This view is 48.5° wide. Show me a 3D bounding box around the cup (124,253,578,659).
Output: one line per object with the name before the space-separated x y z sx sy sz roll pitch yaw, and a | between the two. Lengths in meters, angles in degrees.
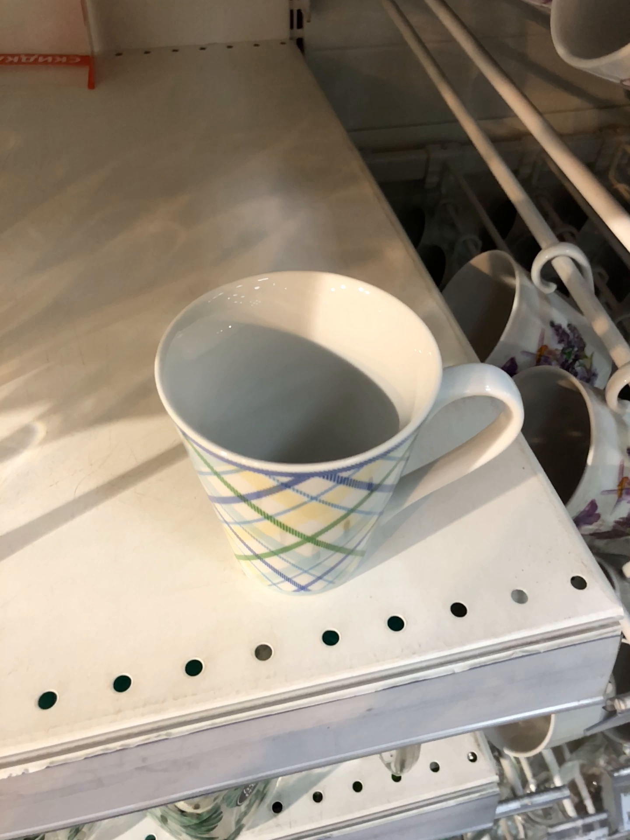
cup | 0.003 0.011 0.234 0.116 0.085 0.089 -7 48 -8
